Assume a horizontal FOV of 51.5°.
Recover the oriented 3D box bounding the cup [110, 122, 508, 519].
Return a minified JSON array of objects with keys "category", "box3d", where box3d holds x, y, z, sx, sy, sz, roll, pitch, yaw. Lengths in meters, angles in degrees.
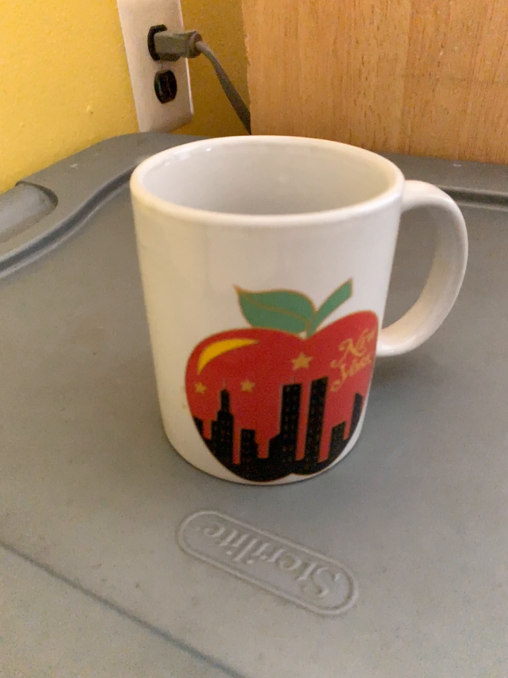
[{"category":"cup","box3d":[0.018,-0.017,0.199,0.118,0.095,0.098,-10,36,-16]}]
